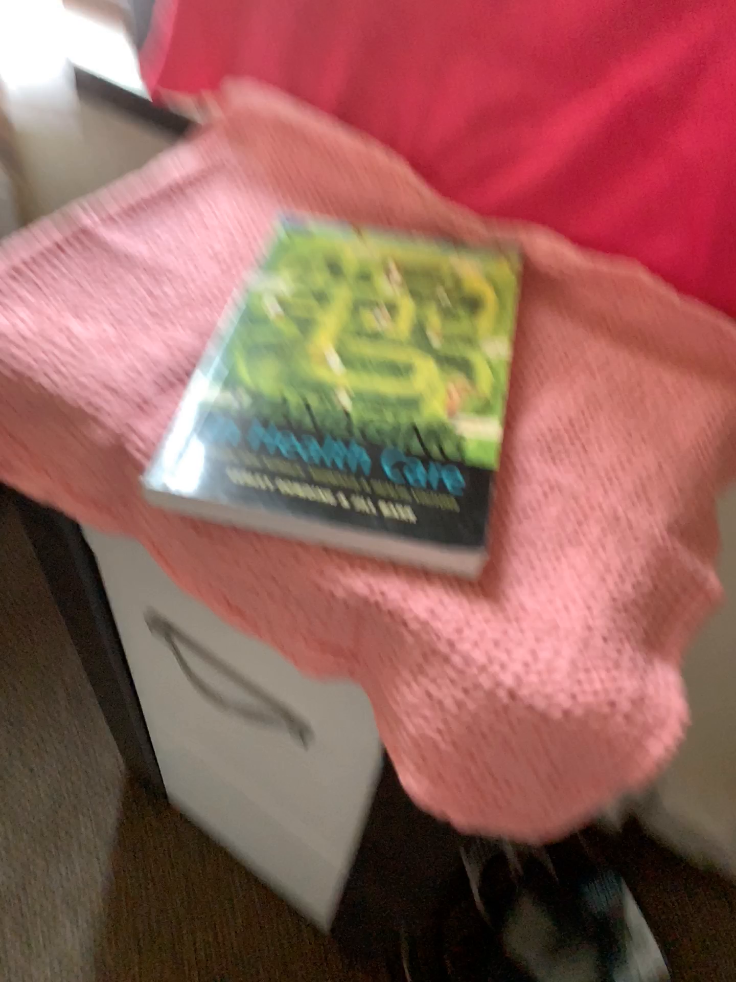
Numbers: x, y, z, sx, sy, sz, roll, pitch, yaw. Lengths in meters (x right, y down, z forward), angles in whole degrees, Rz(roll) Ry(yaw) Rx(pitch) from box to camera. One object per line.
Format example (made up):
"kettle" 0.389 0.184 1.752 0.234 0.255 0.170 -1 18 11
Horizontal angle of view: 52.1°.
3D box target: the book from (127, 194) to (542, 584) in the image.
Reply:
"book" 0.001 -0.074 0.406 0.170 0.020 0.242 12 50 3
